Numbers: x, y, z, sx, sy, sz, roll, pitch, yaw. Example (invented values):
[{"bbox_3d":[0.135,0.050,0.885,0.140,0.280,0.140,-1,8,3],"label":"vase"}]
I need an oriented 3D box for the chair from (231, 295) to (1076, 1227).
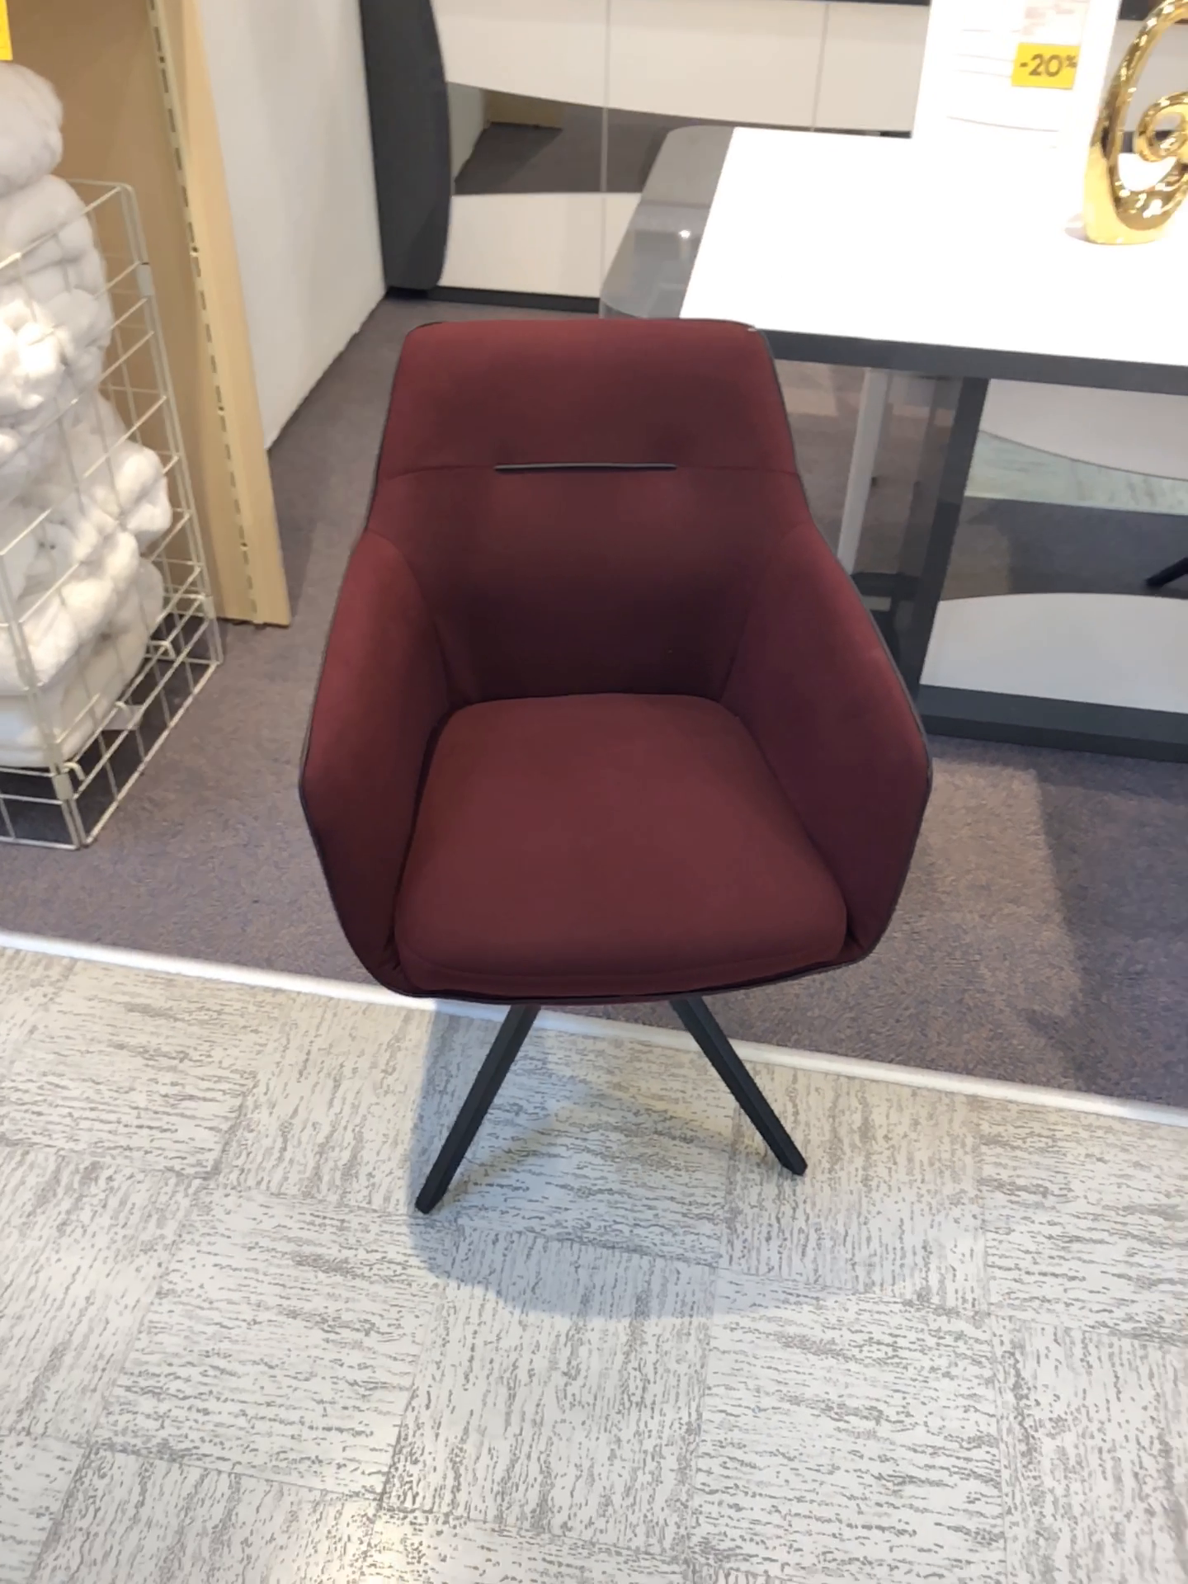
[{"bbox_3d":[0.011,-0.034,1.338,0.580,0.735,0.573,-3,41,-6],"label":"chair"}]
